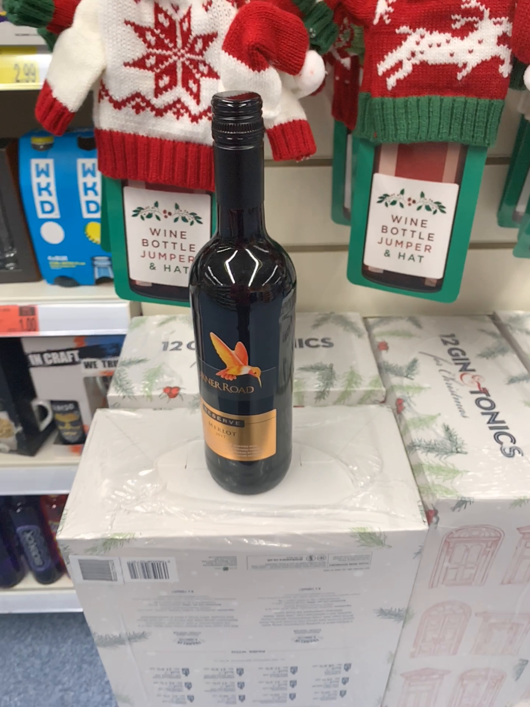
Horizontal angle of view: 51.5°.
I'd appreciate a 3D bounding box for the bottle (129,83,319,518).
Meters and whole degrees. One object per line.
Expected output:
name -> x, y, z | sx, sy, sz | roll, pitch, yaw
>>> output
bottle -> -0.020, -0.023, 0.385 | 0.078, 0.288, 0.075 | 0, 34, 0
